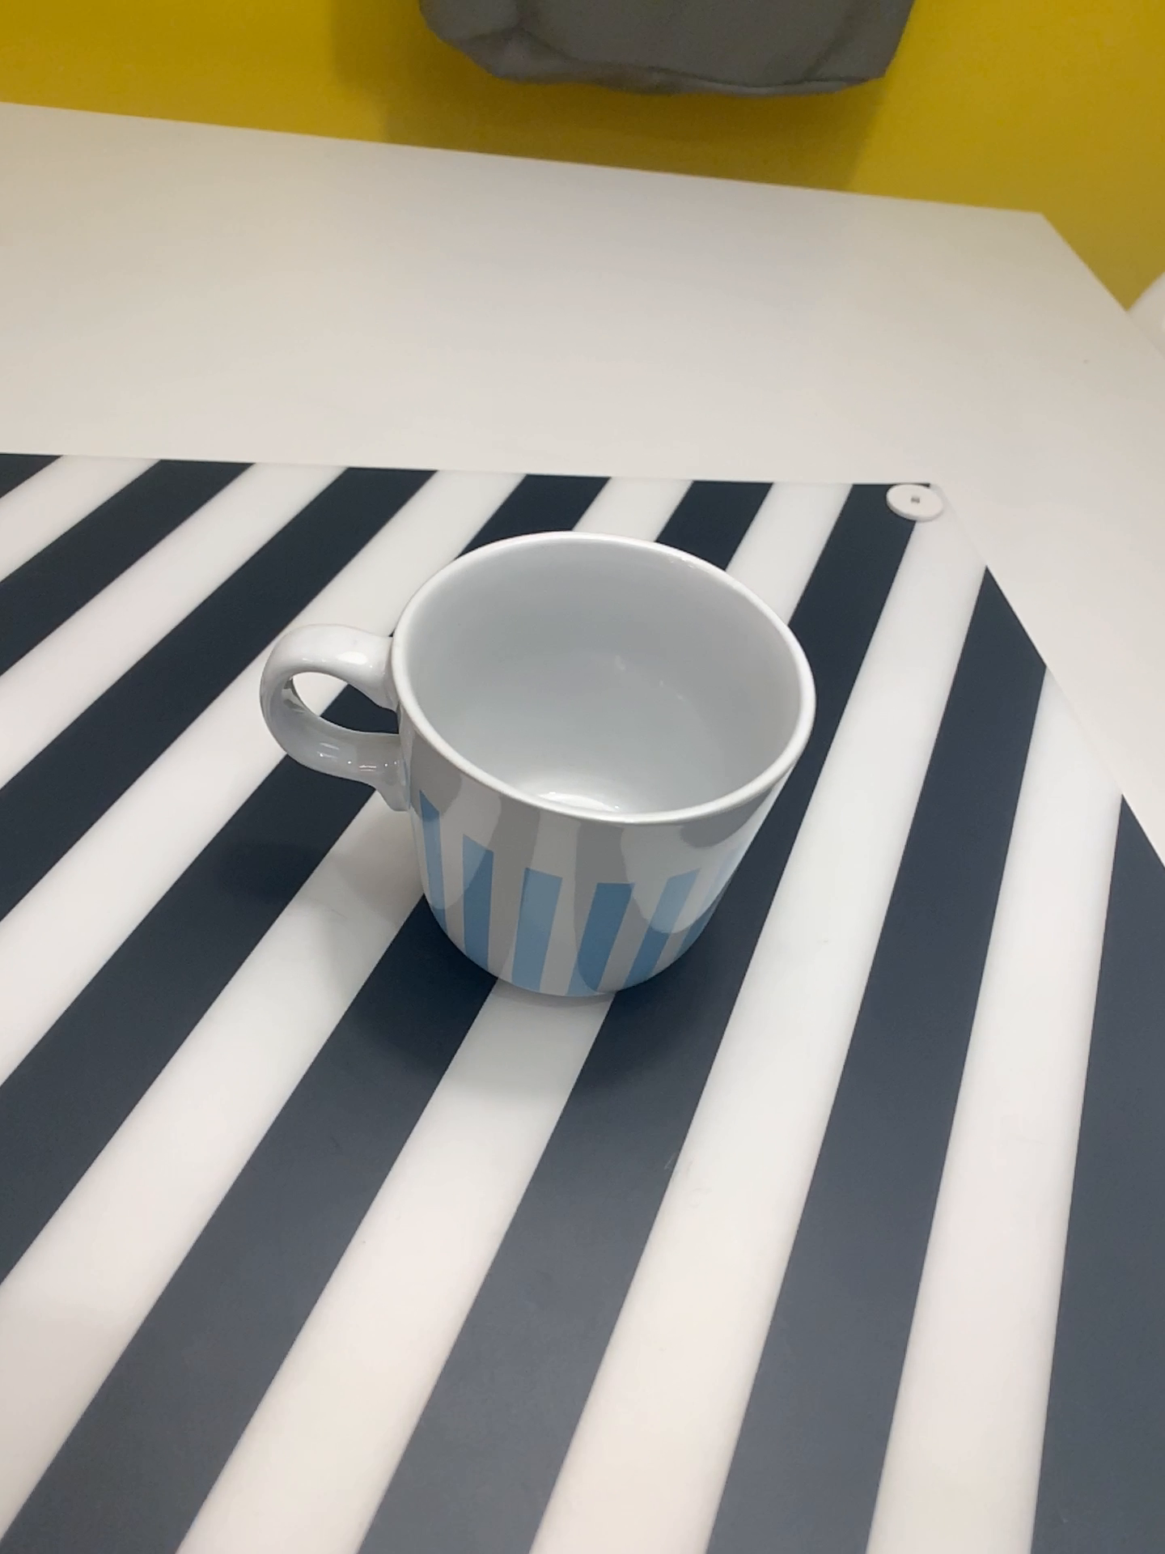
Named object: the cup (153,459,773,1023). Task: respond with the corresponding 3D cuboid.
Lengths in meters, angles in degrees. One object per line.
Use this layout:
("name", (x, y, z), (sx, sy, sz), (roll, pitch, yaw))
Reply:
("cup", (-0.021, -0.008, 0.264), (0.110, 0.070, 0.080), (10, 46, -1))
